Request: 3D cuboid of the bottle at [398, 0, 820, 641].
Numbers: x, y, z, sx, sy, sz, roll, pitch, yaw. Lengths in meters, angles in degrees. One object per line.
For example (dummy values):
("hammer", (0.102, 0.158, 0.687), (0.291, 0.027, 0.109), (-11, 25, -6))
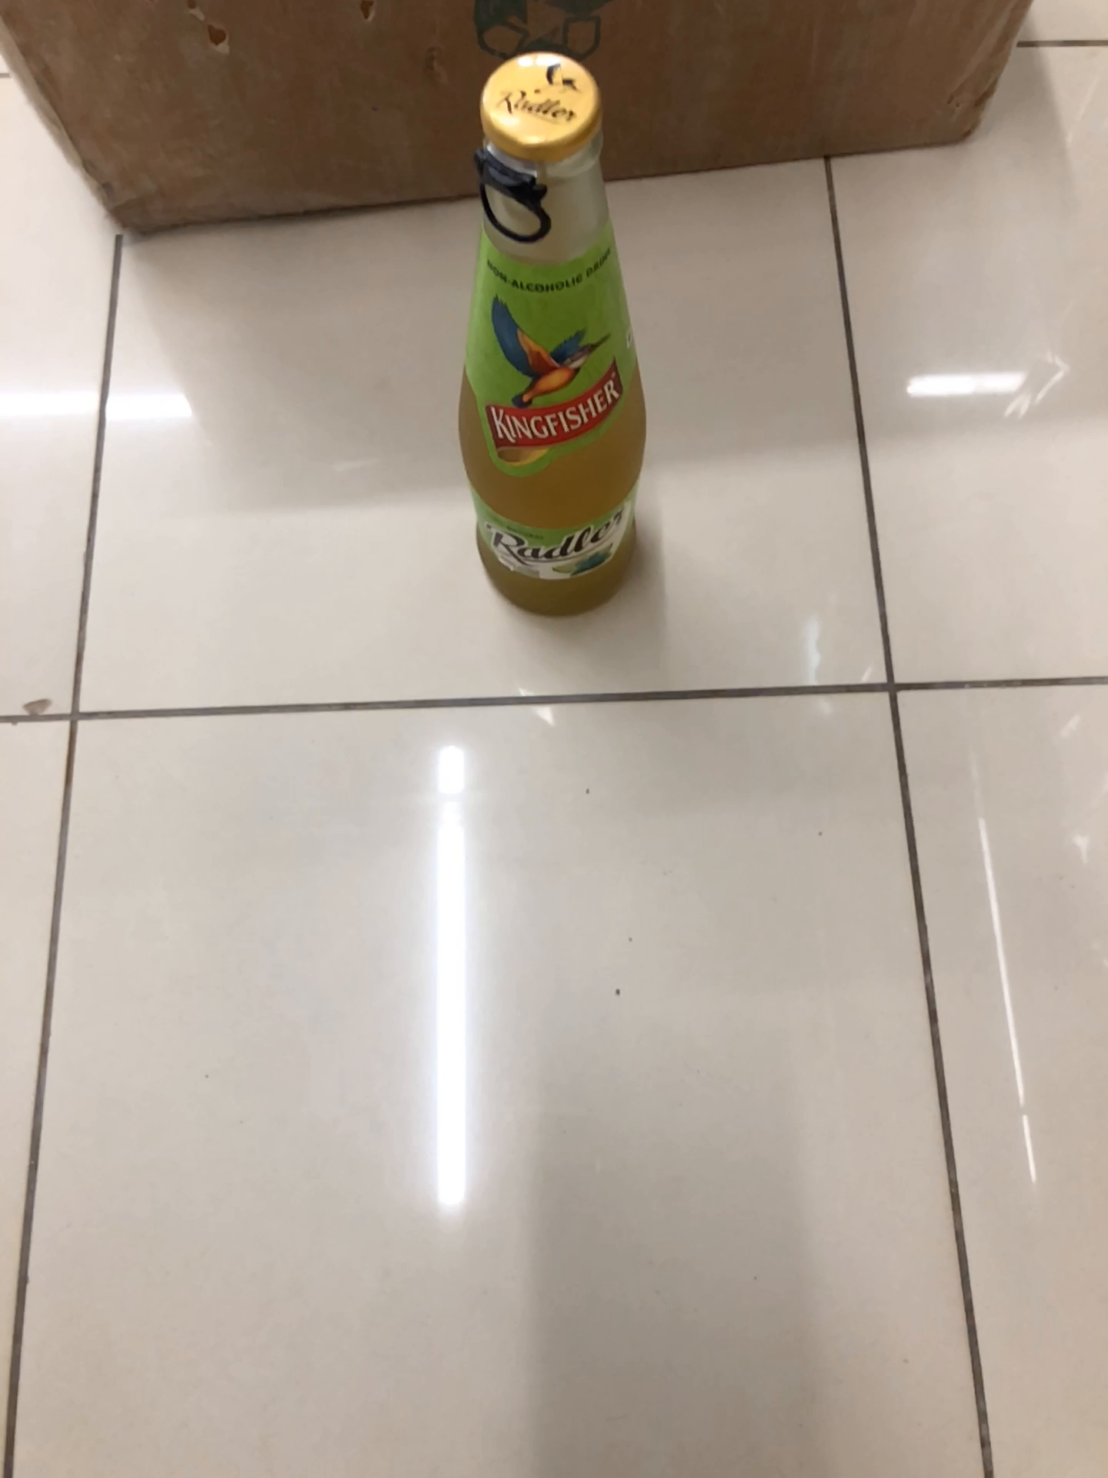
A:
("bottle", (0.010, -0.105, 0.348), (0.080, 0.199, 0.080), (0, 72, 1))
